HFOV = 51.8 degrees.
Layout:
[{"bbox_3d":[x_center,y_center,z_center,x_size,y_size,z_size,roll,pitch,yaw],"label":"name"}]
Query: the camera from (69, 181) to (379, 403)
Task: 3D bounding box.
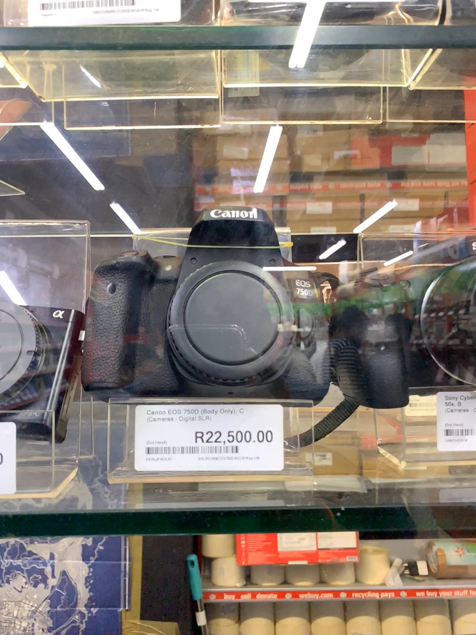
[{"bbox_3d":[-0.007,-0.009,0.245,0.130,0.090,0.070,2,-4,-5],"label":"camera"}]
